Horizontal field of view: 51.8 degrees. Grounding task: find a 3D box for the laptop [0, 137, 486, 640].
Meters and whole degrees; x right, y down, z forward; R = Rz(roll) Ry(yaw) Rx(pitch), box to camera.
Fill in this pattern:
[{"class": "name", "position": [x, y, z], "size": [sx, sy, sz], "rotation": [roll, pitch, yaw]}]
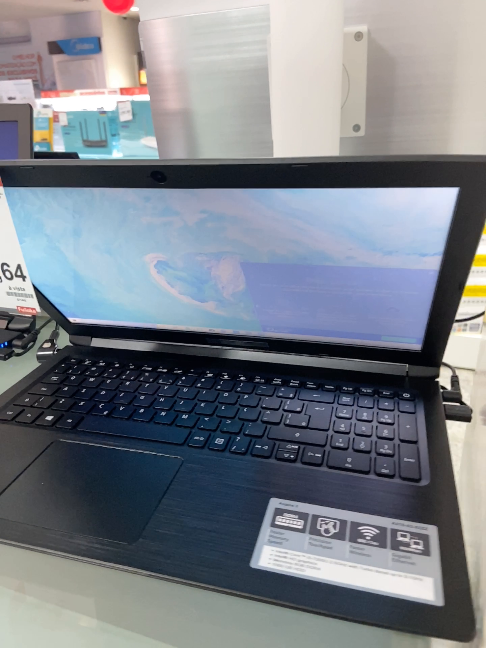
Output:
[{"class": "laptop", "position": [-0.044, -0.006, 0.342], "size": [0.367, 0.193, 0.235], "rotation": [3, 24, 16]}]
